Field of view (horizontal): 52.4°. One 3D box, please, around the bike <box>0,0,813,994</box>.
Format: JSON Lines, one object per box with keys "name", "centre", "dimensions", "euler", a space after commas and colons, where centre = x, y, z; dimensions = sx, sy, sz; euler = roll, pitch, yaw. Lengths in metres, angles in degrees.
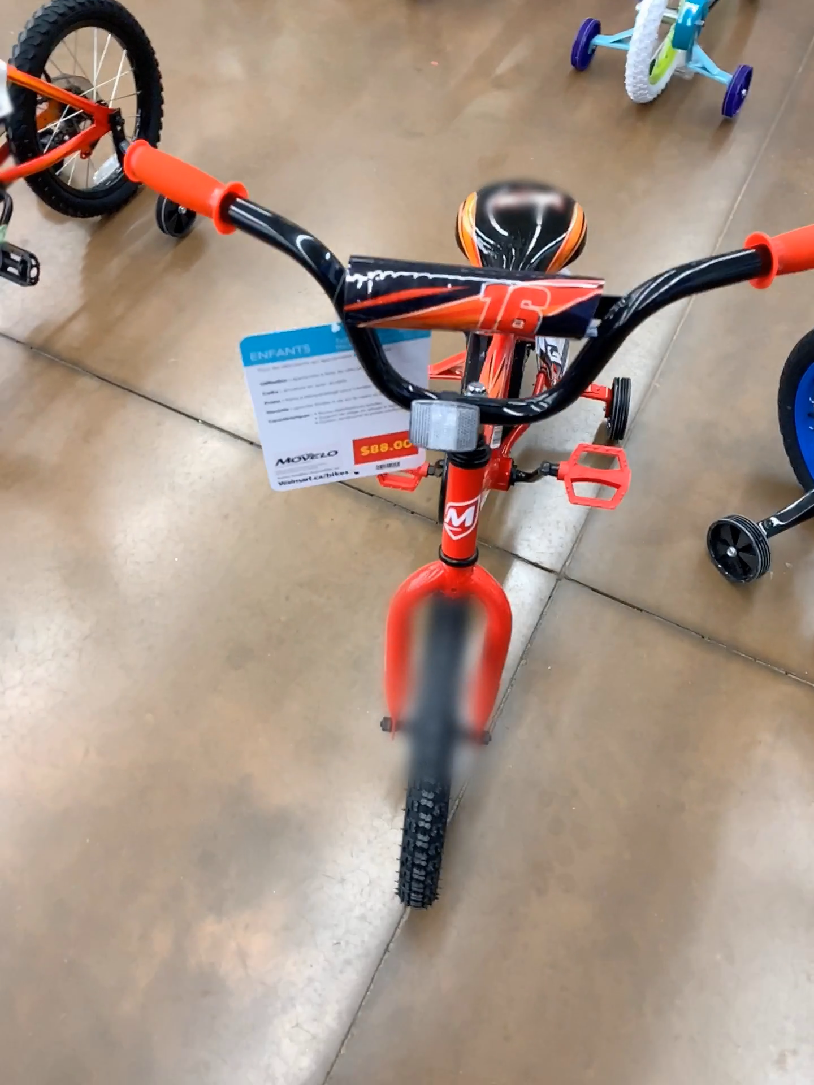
{"name": "bike", "centre": [0.127, -0.163, 1.037], "dimensions": [0.515, 0.954, 1.145], "euler": [8, 54, 5]}
